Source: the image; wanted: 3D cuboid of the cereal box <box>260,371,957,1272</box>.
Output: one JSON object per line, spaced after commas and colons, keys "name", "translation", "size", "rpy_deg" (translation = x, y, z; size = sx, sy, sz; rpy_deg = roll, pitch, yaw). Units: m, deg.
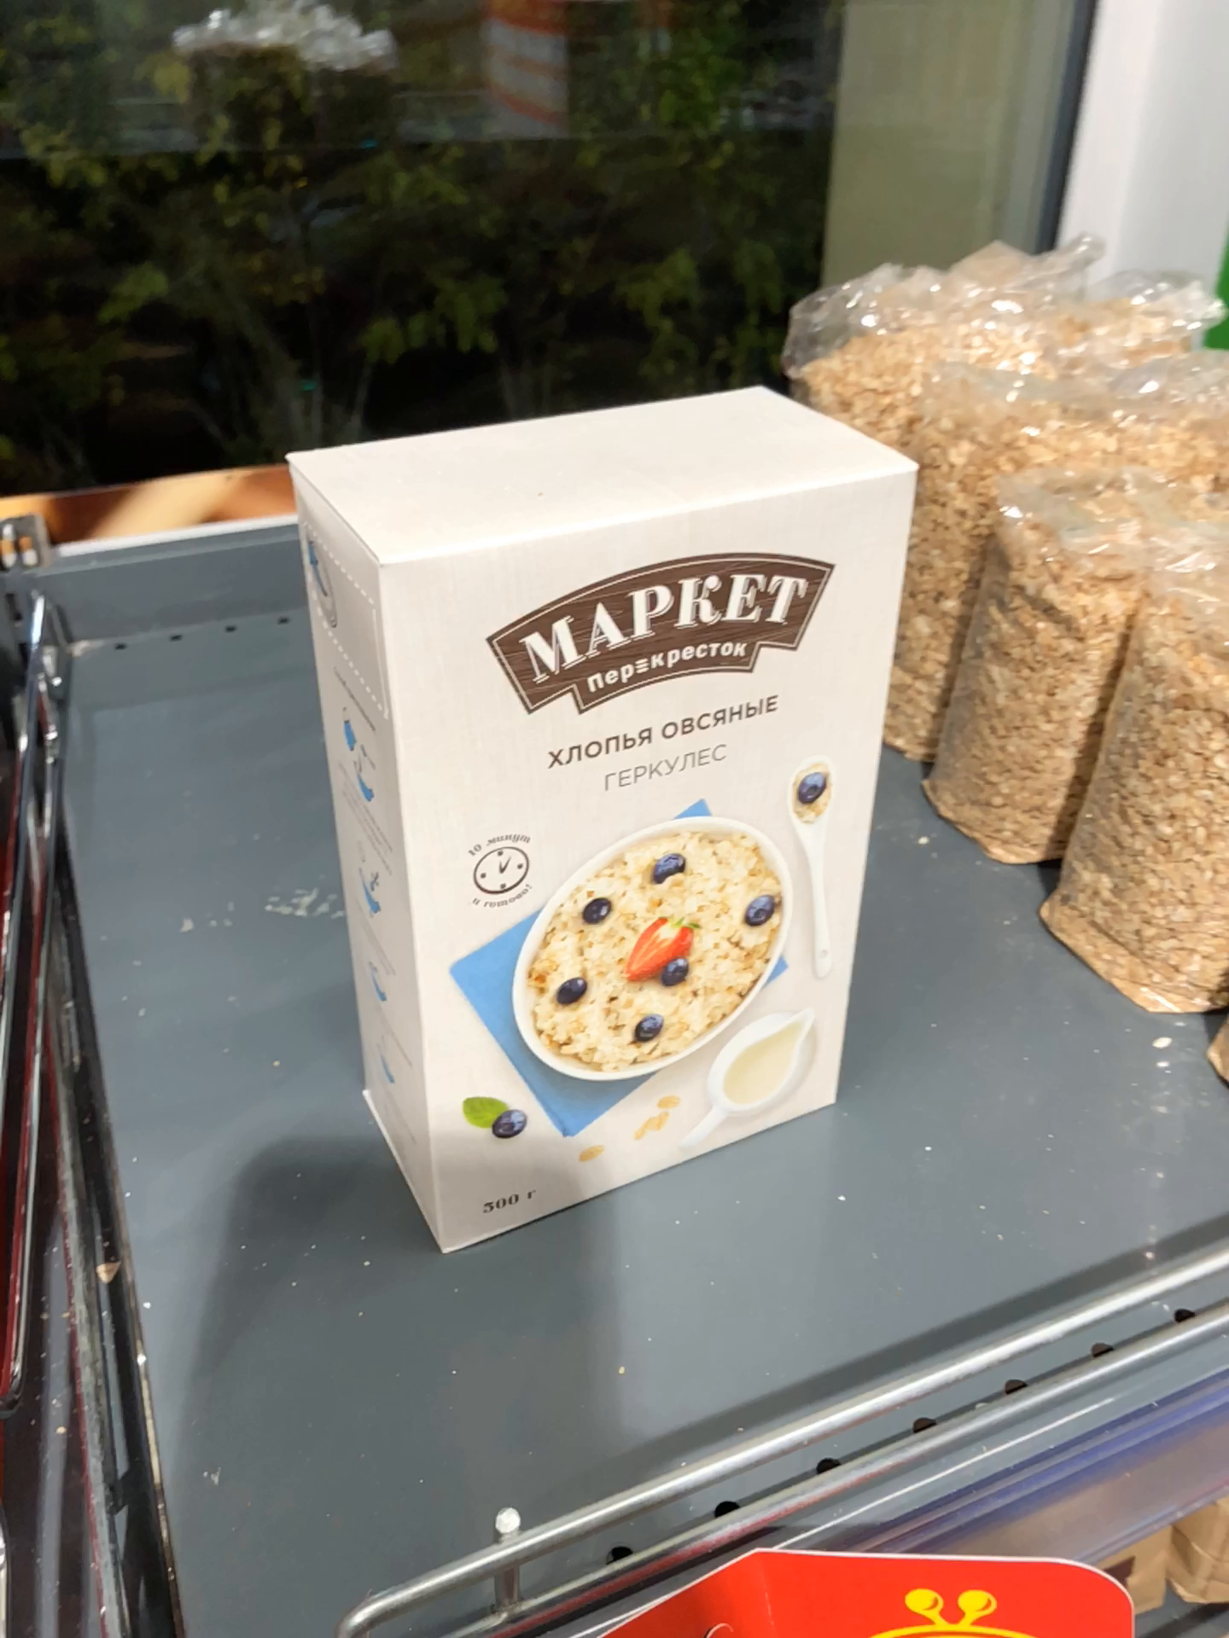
{"name": "cereal box", "translation": [-0.002, 0.001, 0.340], "size": [0.130, 0.189, 0.070], "rpy_deg": [-15, 36, -23]}
